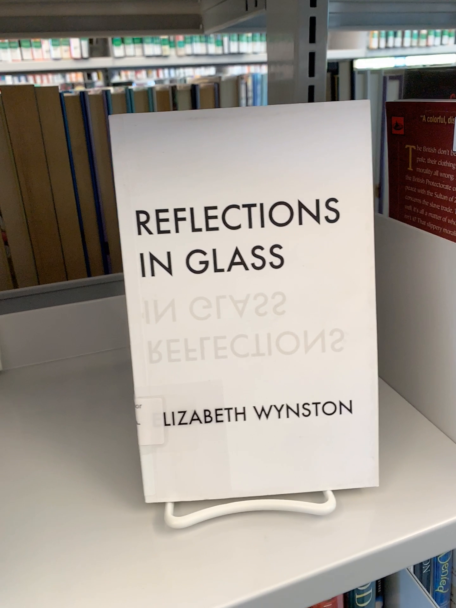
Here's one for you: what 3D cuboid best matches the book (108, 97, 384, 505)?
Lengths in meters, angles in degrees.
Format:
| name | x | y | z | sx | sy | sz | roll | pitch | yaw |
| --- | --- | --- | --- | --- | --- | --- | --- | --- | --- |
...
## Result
| name | x | y | z | sx | sy | sz | roll | pitch | yaw |
| --- | --- | --- | --- | --- | --- | --- | --- | --- | --- |
| book | 0.013 | 0.003 | 0.243 | 0.127 | 0.196 | 0.018 | -3 | 8 | -1 |
